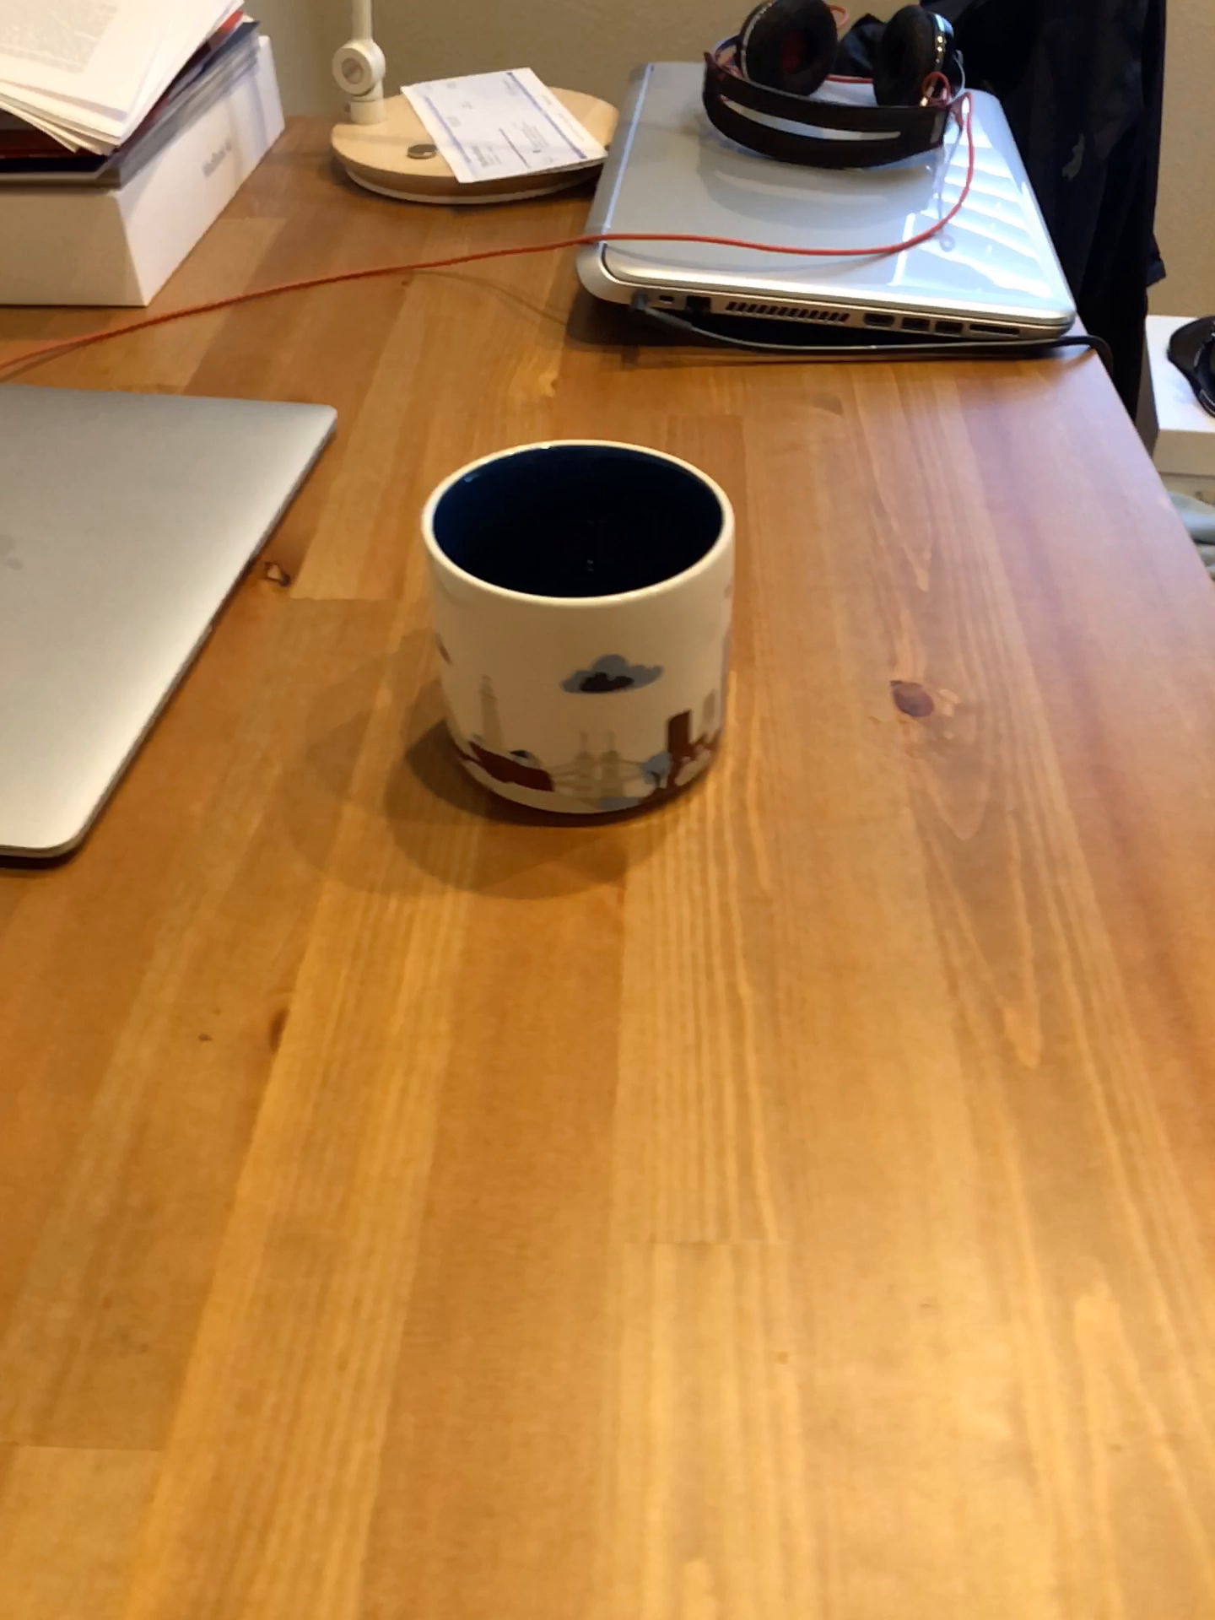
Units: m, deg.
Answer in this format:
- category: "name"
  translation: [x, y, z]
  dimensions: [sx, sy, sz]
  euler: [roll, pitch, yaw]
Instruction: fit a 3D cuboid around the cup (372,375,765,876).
- category: "cup"
  translation: [-0.018, -0.066, 0.447]
  dimensions: [0.100, 0.090, 0.141]
  euler: [-8, 43, -7]
